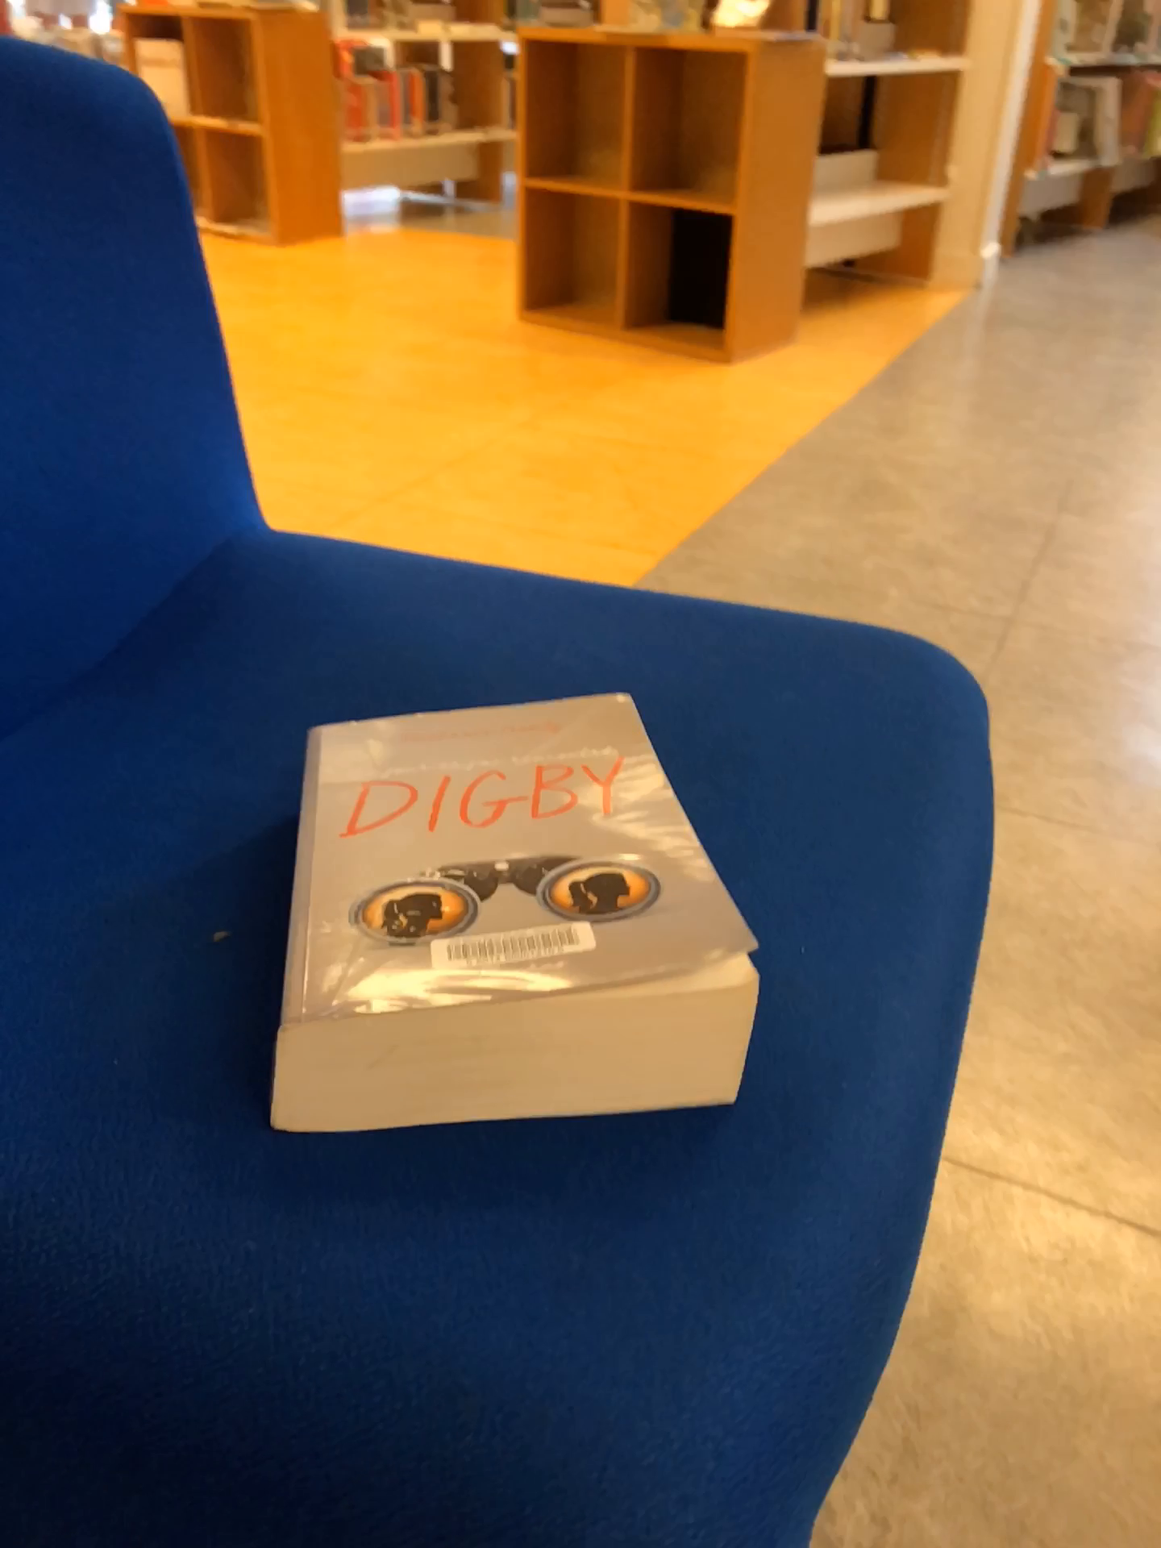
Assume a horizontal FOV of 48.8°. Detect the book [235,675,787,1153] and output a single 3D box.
[{"bbox_3d":[-0.031,0.033,0.455,0.151,0.056,0.212,-3,26,-7],"label":"book"}]
